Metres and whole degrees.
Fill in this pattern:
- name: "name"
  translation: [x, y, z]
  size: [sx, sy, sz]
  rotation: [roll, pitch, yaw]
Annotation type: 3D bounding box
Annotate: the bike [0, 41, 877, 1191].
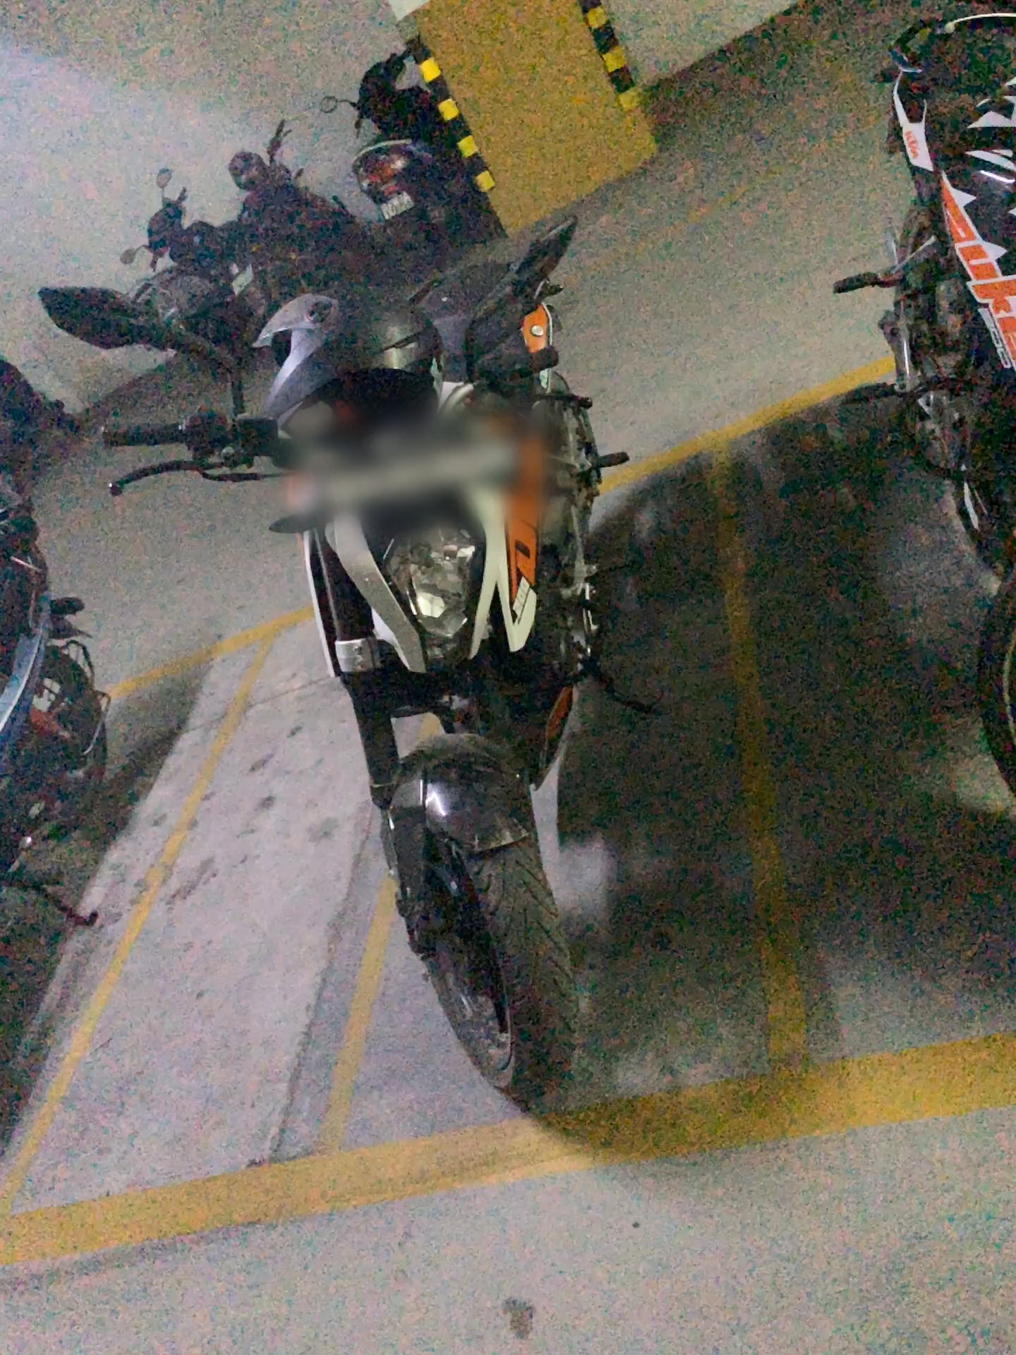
- name: "bike"
  translation: [-0.001, -0.269, 2.189]
  size: [0.804, 1.181, 1.919]
  rotation: [-20, 38, 21]
